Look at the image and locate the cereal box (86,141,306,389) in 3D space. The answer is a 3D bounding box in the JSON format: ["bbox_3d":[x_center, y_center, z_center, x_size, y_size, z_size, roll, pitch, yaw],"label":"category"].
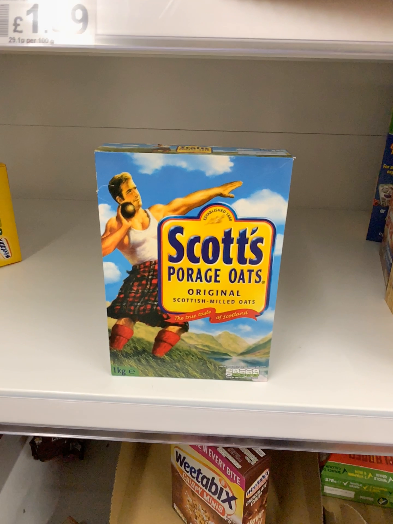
[{"bbox_3d":[-0.003,0.011,0.455,0.200,0.268,0.071,2,25,1],"label":"cereal box"}]
